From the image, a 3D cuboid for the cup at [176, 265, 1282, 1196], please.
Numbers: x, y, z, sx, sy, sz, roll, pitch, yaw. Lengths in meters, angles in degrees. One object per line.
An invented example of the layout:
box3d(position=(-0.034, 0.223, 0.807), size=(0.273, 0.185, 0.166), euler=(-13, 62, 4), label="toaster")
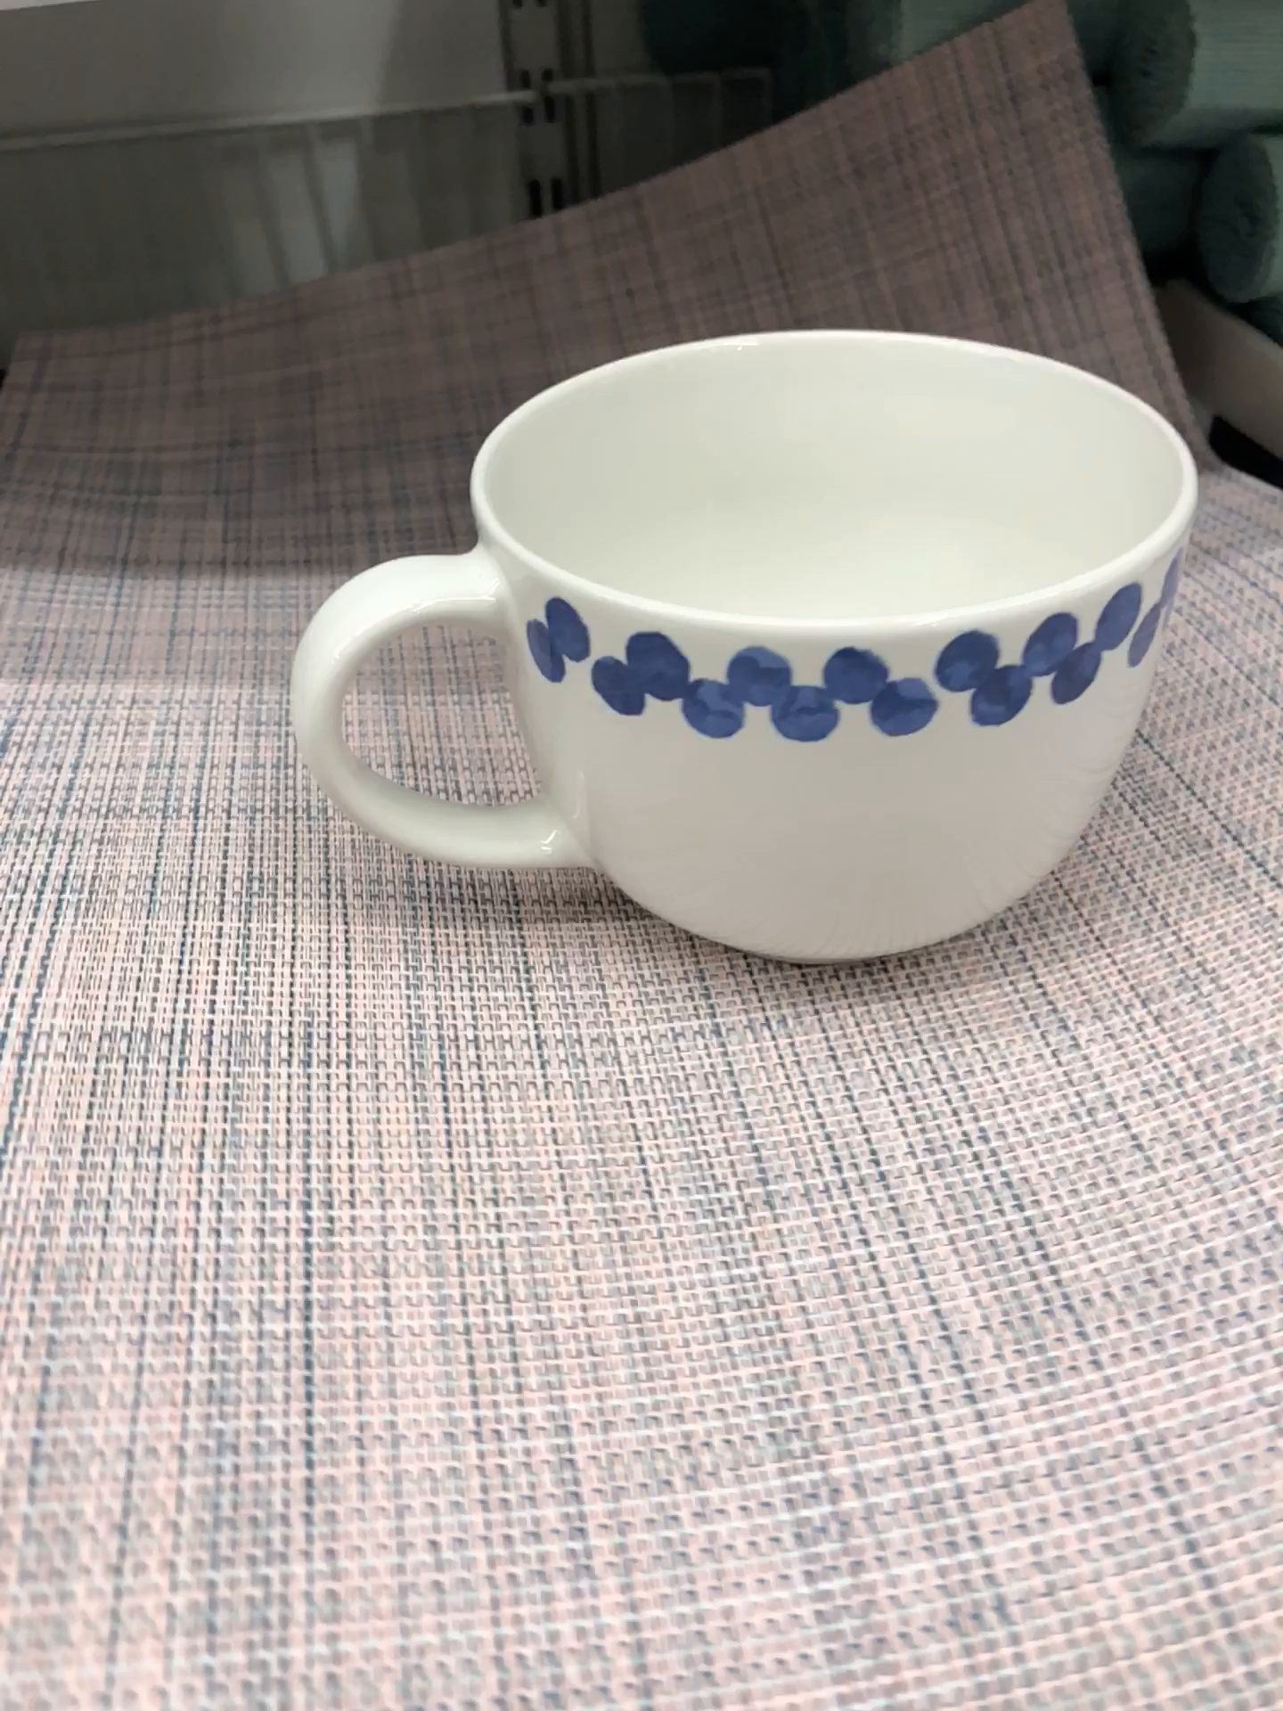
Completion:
box3d(position=(0.018, -0.031, 0.212), size=(0.150, 0.060, 0.110), euler=(-13, 39, -11), label="cup")
